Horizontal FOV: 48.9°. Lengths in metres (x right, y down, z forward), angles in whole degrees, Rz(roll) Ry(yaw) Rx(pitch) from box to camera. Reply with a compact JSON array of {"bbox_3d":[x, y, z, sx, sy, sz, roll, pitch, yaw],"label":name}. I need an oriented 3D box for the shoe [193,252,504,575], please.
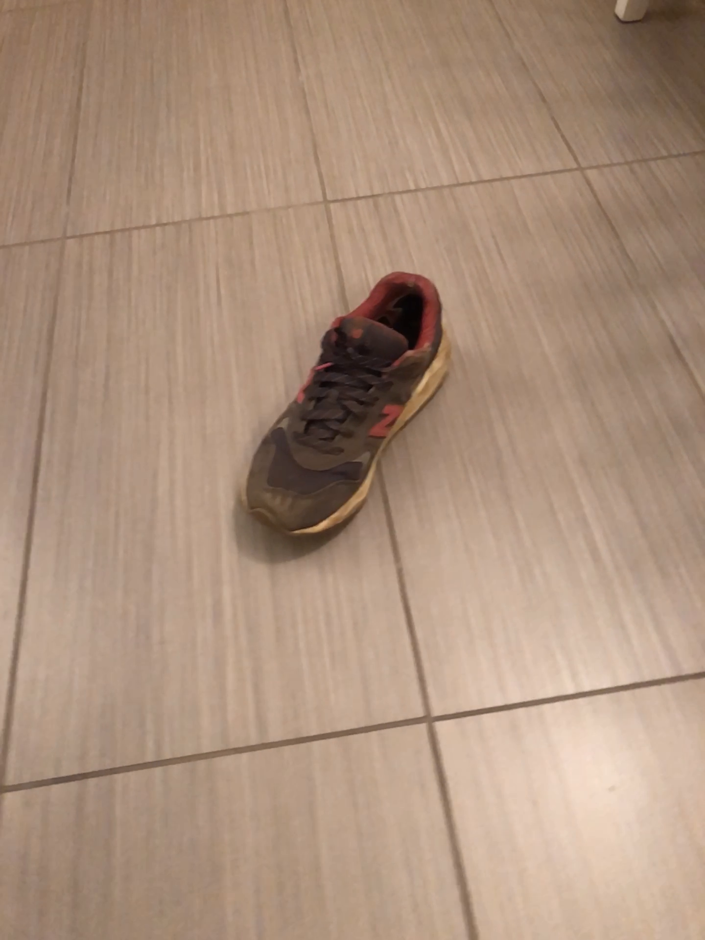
[{"bbox_3d":[0.007,-0.059,0.649,0.120,0.070,0.271,27,60,21],"label":"shoe"}]
